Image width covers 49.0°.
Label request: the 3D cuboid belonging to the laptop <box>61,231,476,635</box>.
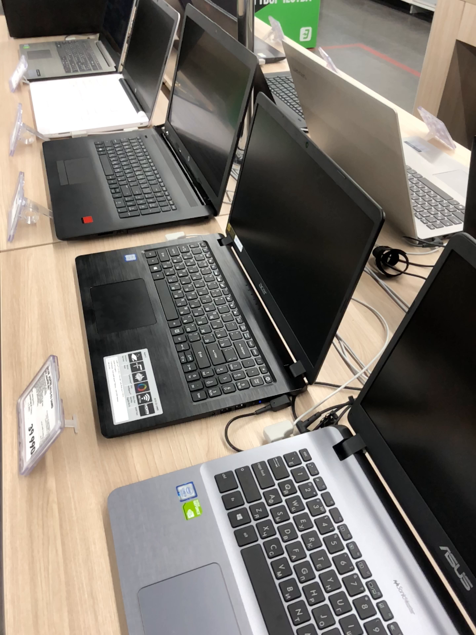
[{"bbox_3d":[0.078,0.150,0.342,0.324,0.218,0.328,-13,41,-11],"label":"laptop"}]

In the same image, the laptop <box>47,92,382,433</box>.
[{"bbox_3d":[-0.056,-0.097,0.650,0.291,0.219,0.347,-12,42,-13],"label":"laptop"}]

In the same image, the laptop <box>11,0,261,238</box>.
[{"bbox_3d":[-0.186,-0.382,0.938,0.345,0.226,0.355,-16,46,-15],"label":"laptop"}]
